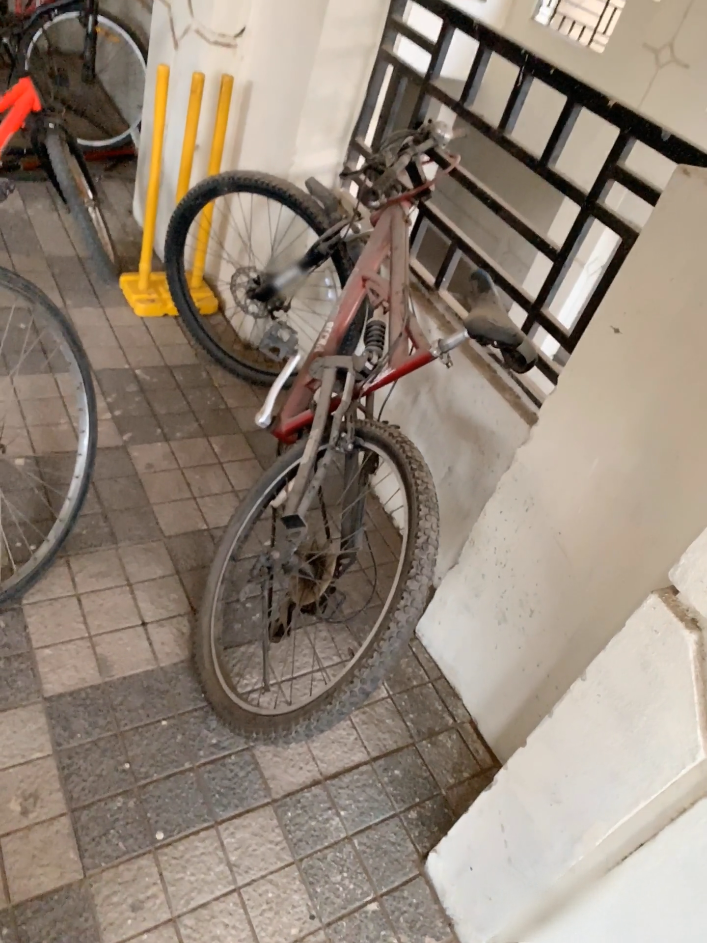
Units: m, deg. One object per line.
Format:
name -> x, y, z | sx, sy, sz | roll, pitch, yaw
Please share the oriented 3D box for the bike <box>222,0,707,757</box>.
bike -> 0.169, -0.345, 1.667 | 0.609, 0.831, 1.469 | 1, 50, -24
